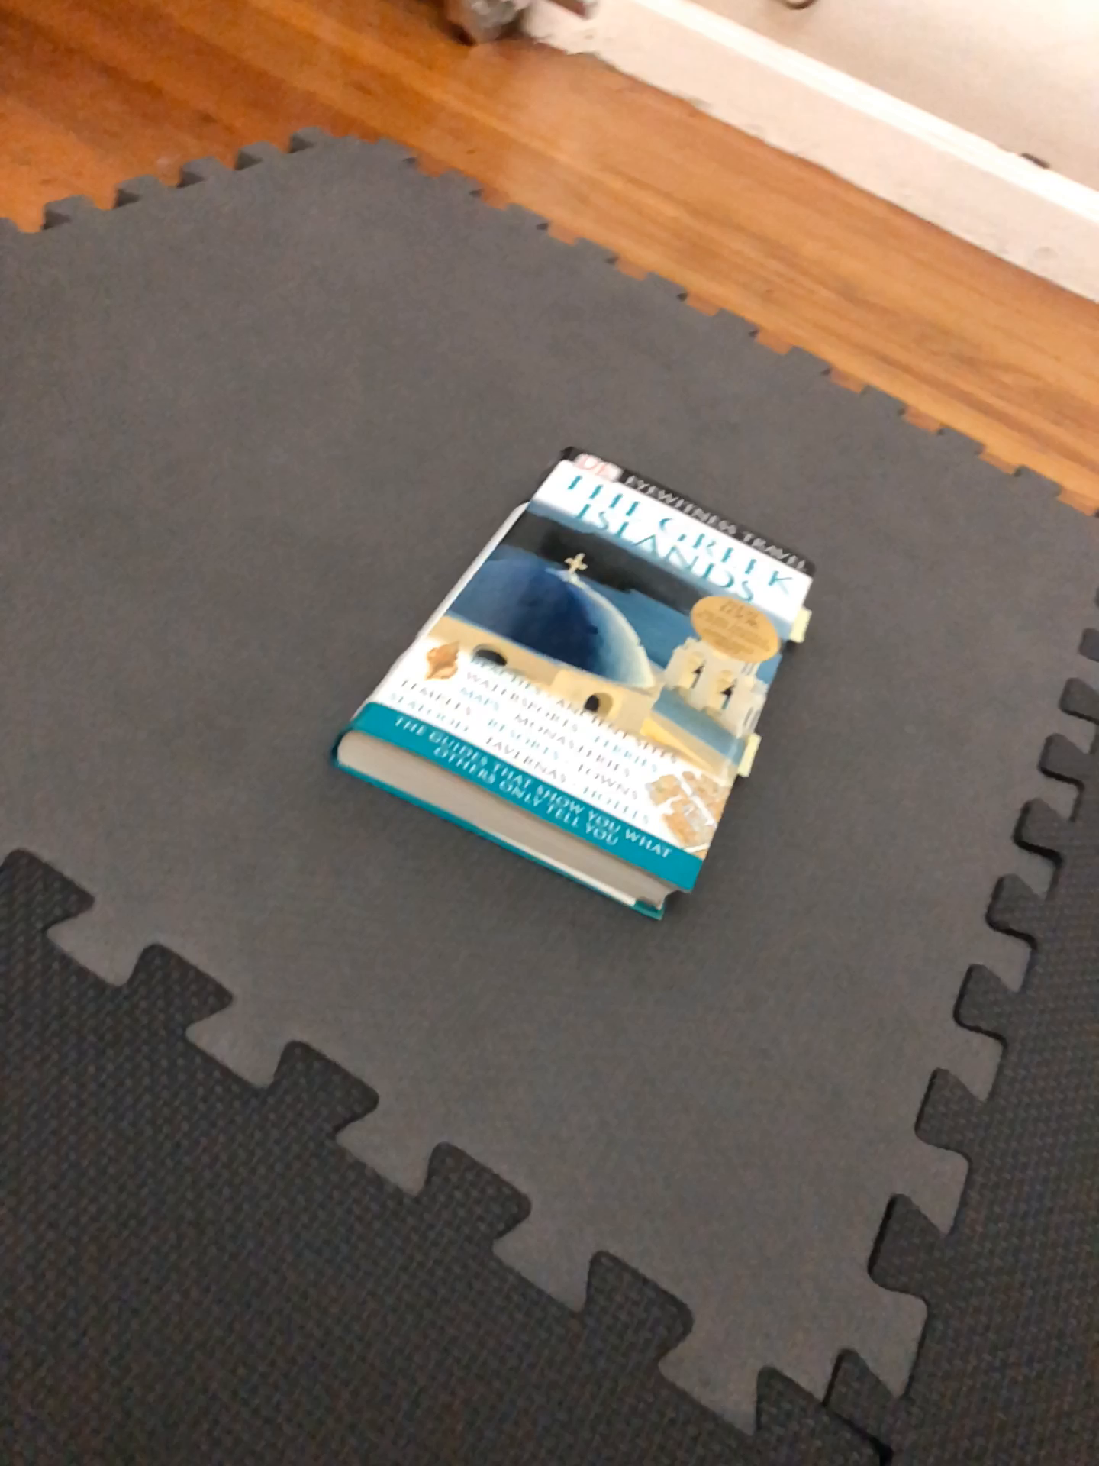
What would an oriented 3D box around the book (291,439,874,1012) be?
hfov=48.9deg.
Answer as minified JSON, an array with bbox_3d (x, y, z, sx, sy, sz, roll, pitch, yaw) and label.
[{"bbox_3d":[0.030,-0.023,0.489,0.160,0.030,0.241,26,44,6],"label":"book"}]
